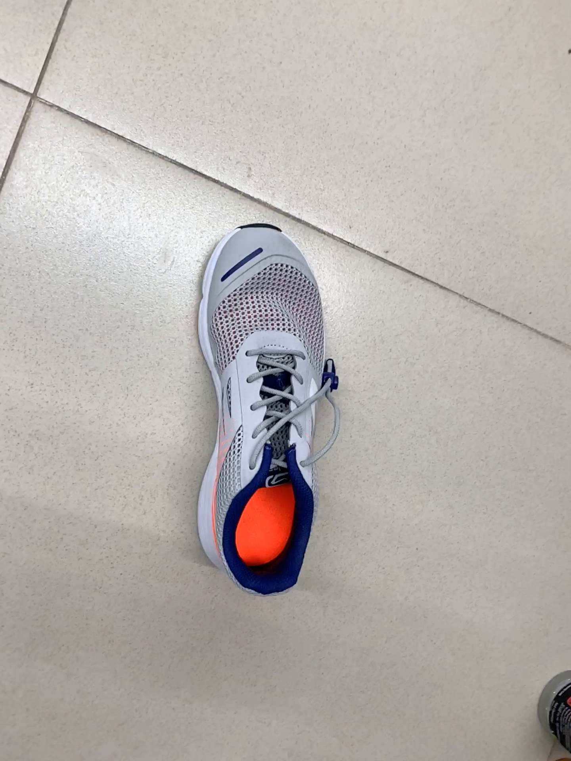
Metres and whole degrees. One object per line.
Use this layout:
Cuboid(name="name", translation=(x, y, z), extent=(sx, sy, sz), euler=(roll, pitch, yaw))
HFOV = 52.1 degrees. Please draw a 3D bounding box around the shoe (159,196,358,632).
Cuboid(name="shoe", translation=(-0.026, 0.020, 0.392), extent=(0.100, 0.100, 0.250), euler=(2, 96, -15))
